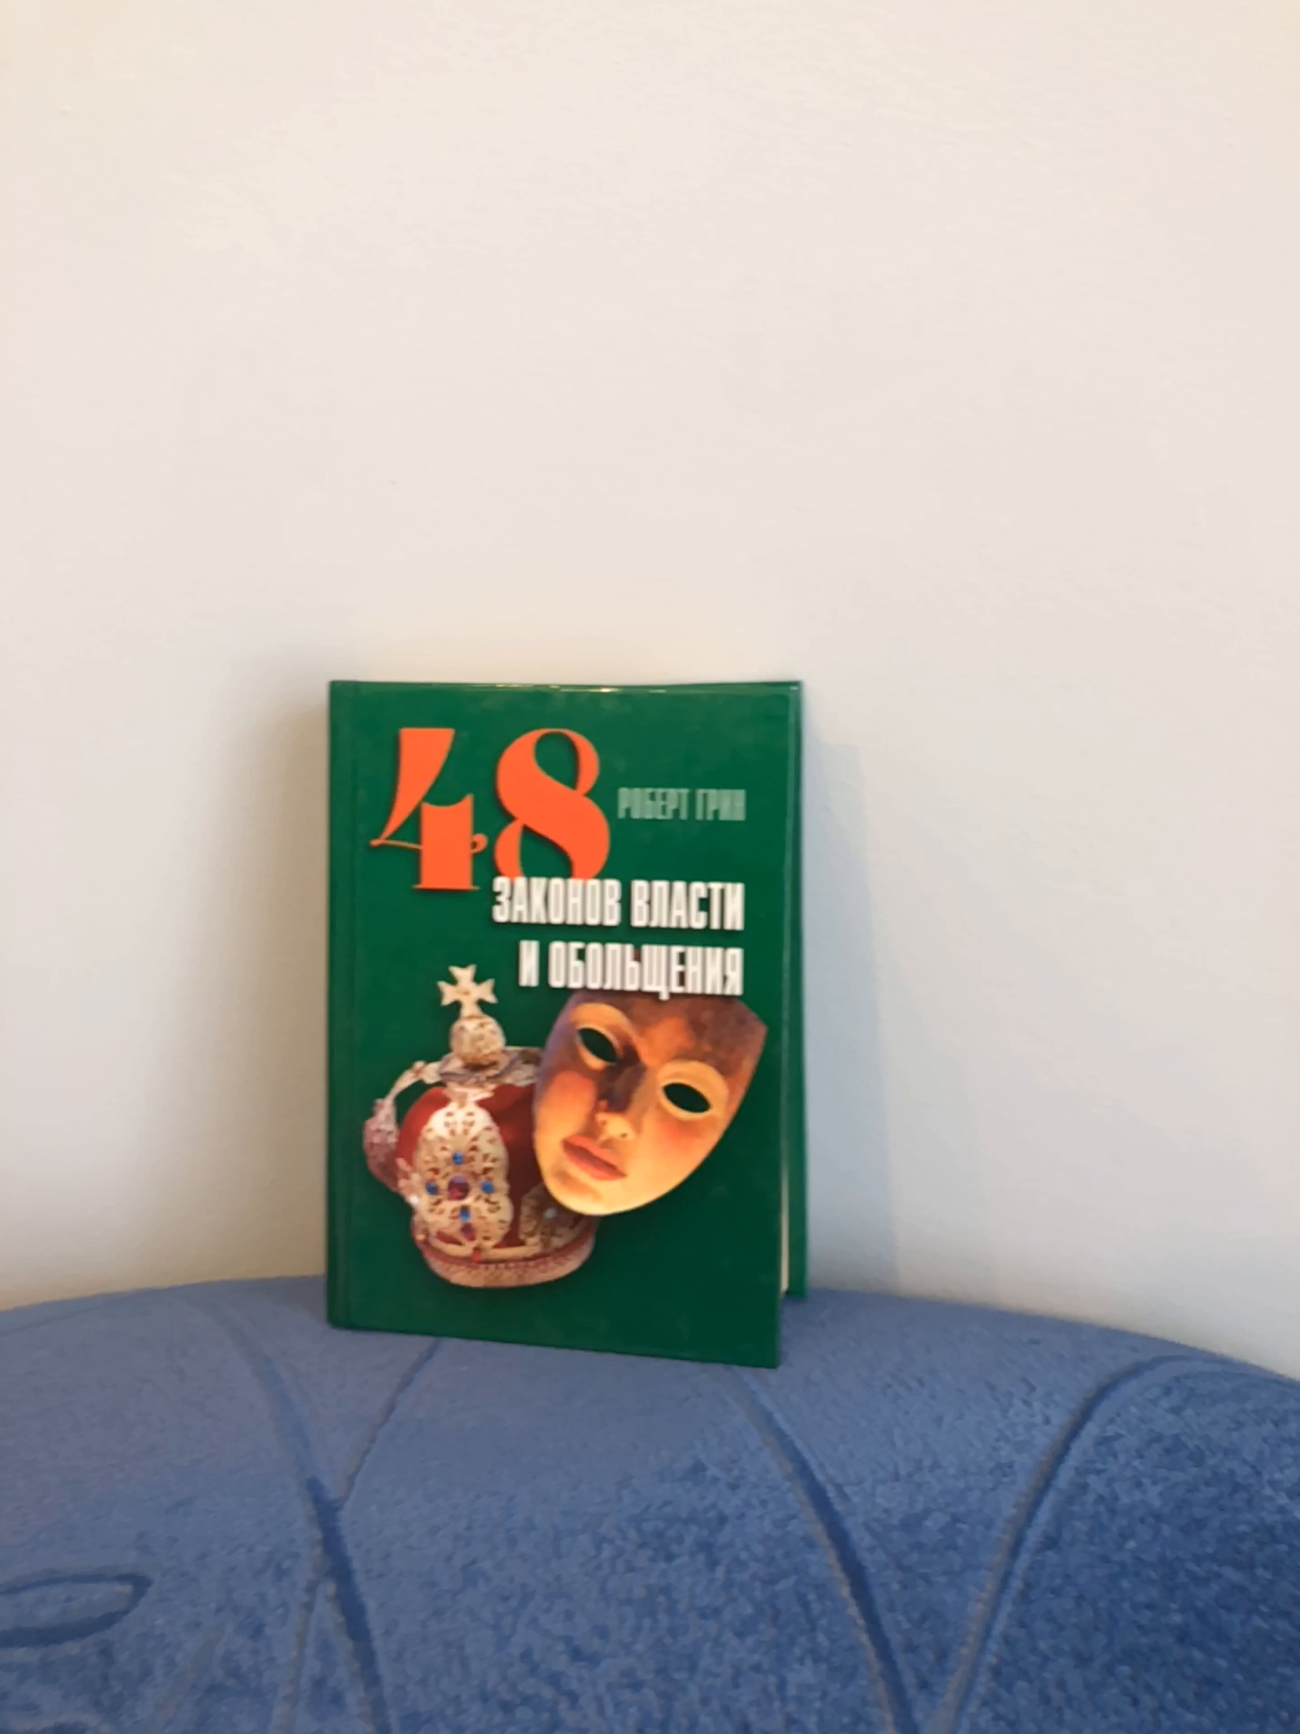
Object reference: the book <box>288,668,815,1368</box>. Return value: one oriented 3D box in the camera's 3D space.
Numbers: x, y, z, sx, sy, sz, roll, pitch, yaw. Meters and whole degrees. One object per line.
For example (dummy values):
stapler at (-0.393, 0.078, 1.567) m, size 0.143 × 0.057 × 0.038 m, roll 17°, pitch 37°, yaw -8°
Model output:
book at (-0.020, 0.029, 0.328) m, size 0.106 × 0.141 × 0.050 m, roll 0°, pitch 3°, yaw 15°
